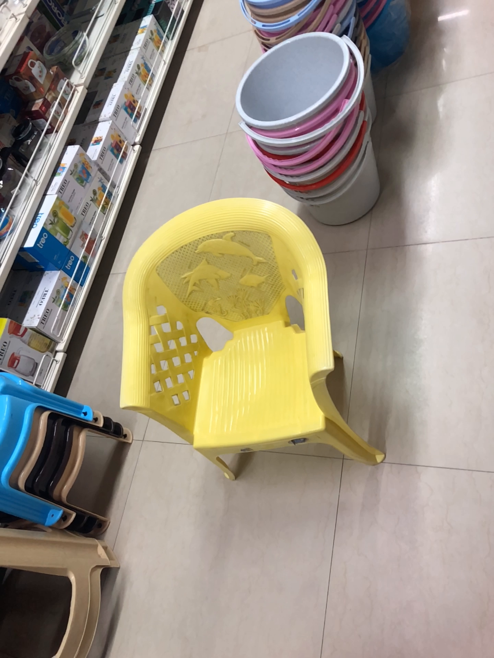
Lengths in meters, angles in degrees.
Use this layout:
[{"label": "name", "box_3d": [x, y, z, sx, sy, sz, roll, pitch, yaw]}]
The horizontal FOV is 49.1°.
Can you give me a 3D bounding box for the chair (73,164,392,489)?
[{"label": "chair", "box_3d": [-0.003, 0.034, 1.134, 0.471, 0.398, 0.472, -12, 58, 23]}]
